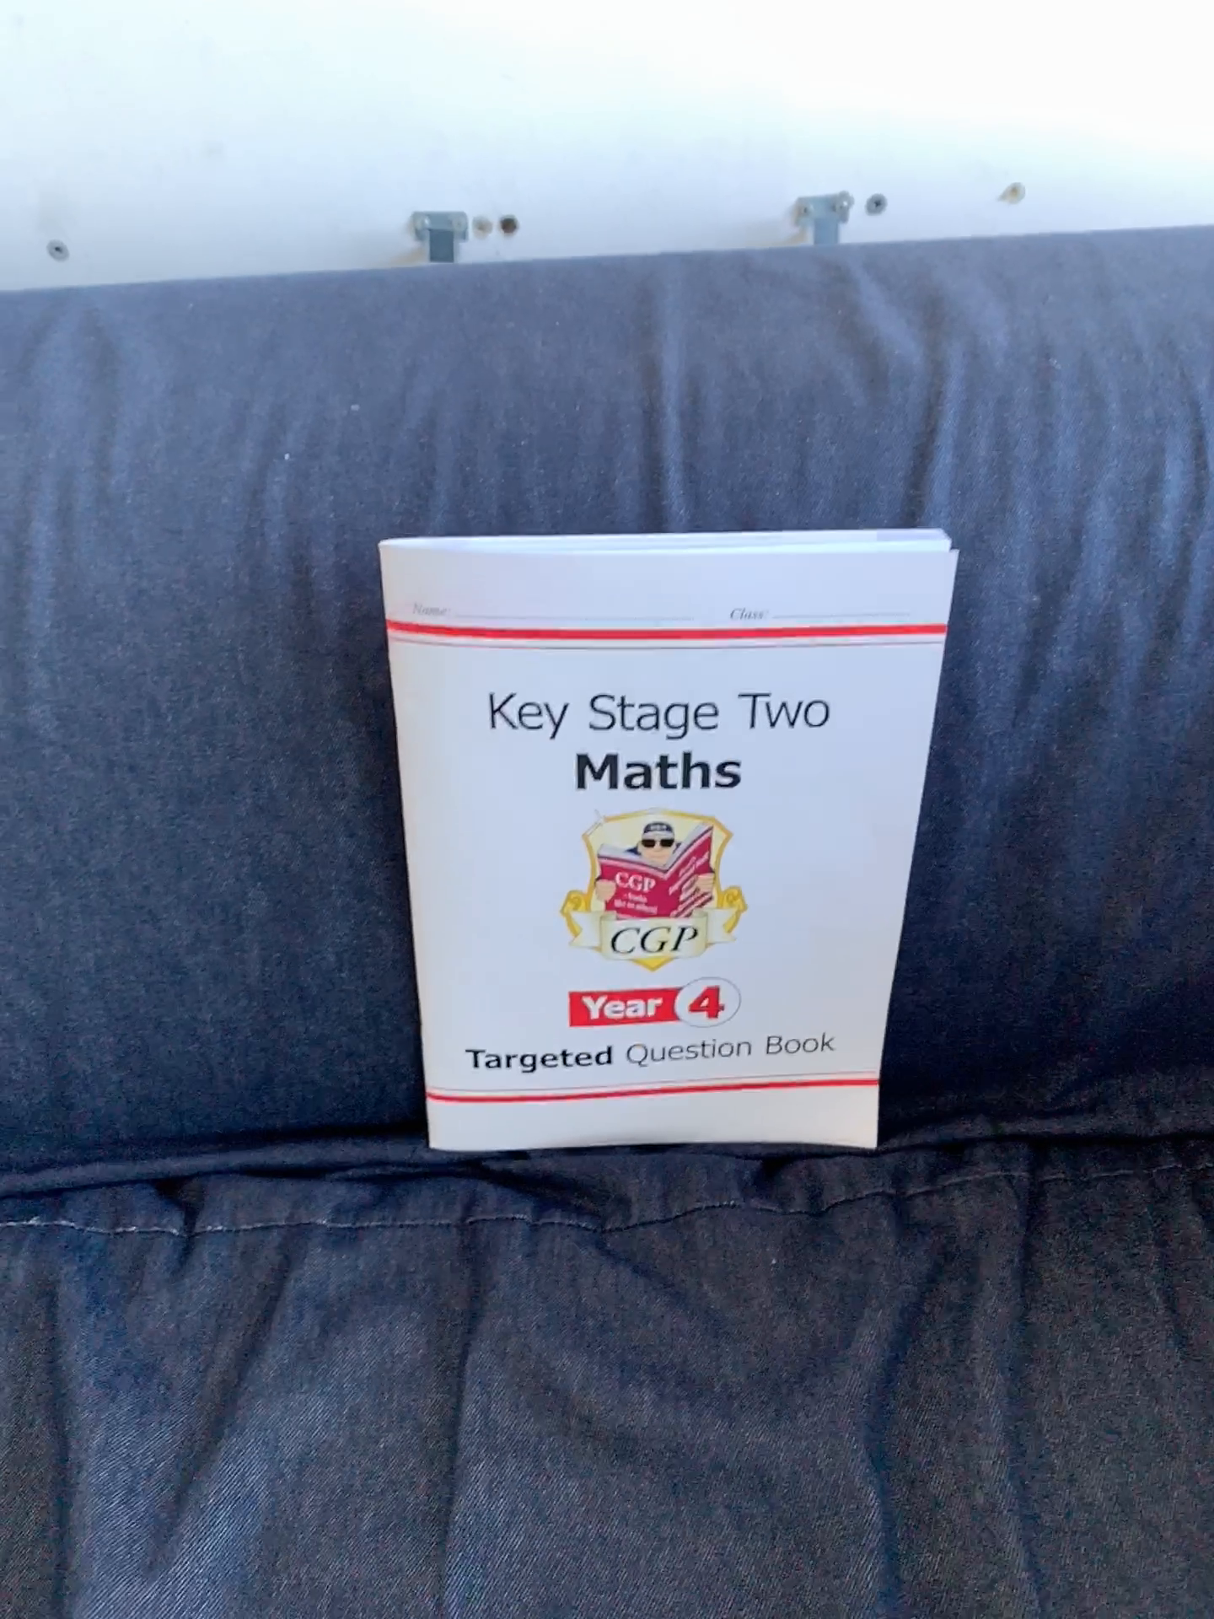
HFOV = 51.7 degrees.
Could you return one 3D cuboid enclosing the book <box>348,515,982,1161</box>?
[{"bbox_3d":[0.024,0.022,0.502,0.220,0.266,0.030,-1,24,1],"label":"book"}]
